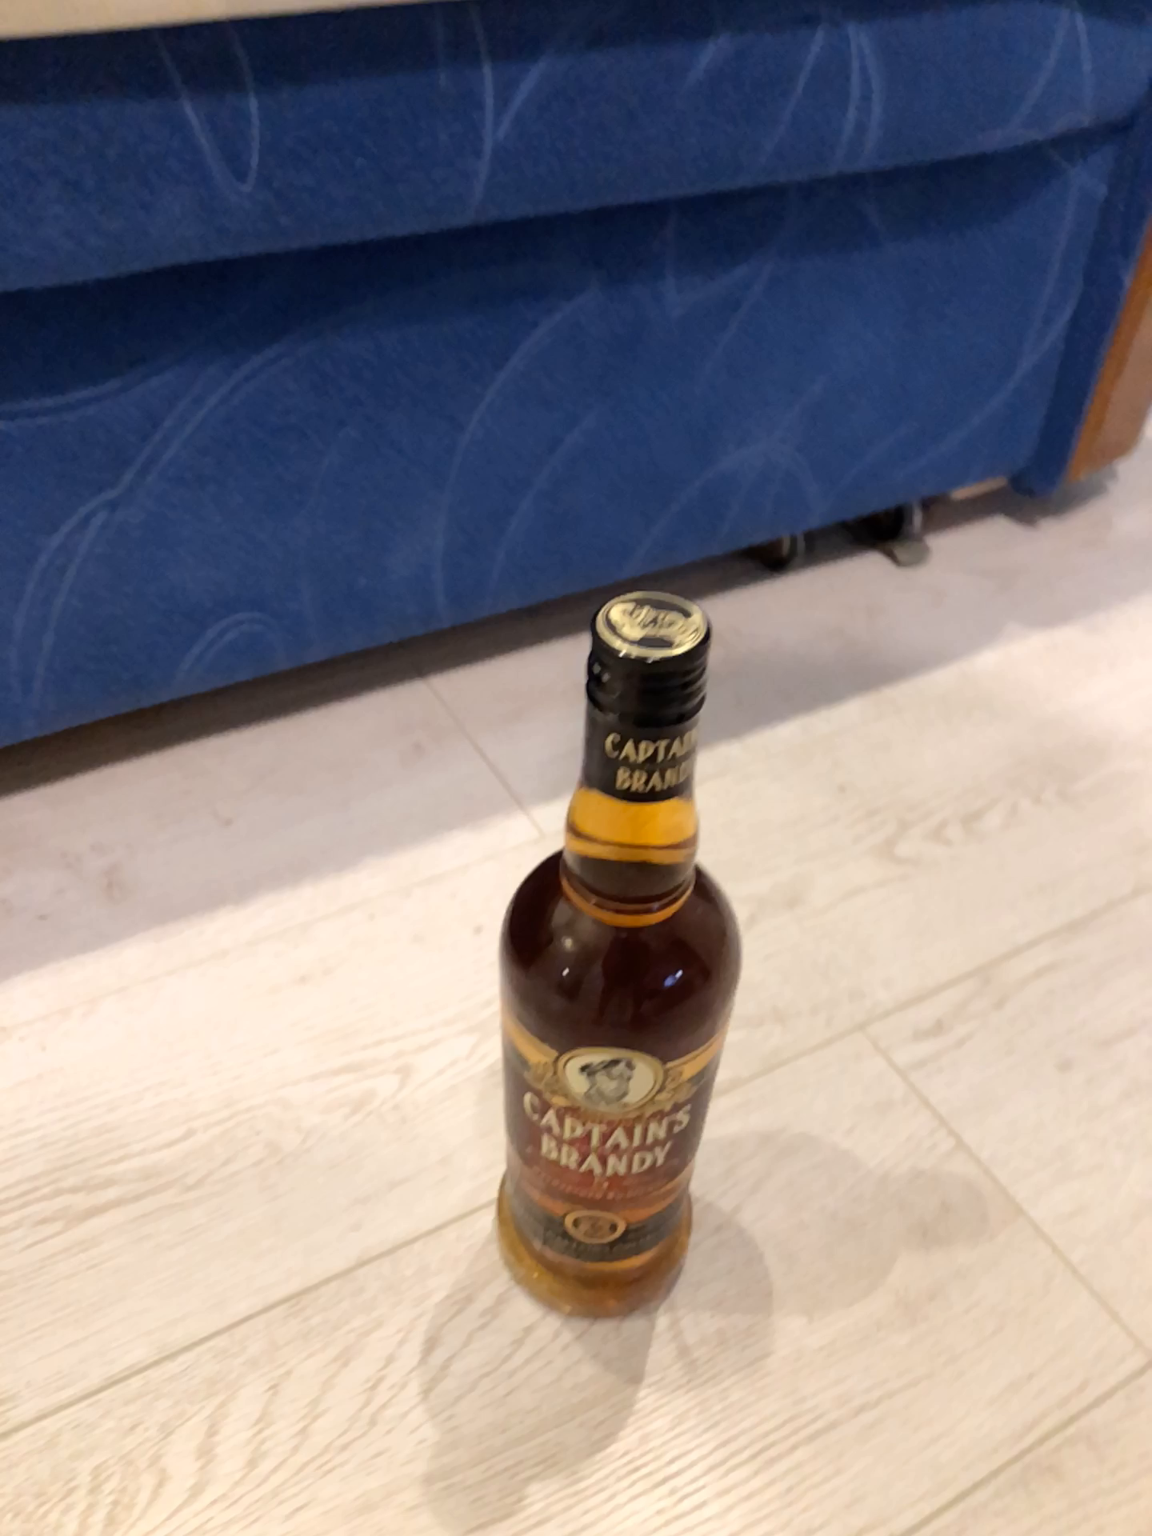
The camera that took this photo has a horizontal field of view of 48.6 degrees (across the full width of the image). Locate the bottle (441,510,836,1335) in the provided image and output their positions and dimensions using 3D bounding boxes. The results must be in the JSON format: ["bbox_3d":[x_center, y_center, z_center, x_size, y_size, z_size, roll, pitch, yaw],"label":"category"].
[{"bbox_3d":[0.009,0.062,0.372,0.080,0.257,0.081,2,40,-2],"label":"bottle"}]
